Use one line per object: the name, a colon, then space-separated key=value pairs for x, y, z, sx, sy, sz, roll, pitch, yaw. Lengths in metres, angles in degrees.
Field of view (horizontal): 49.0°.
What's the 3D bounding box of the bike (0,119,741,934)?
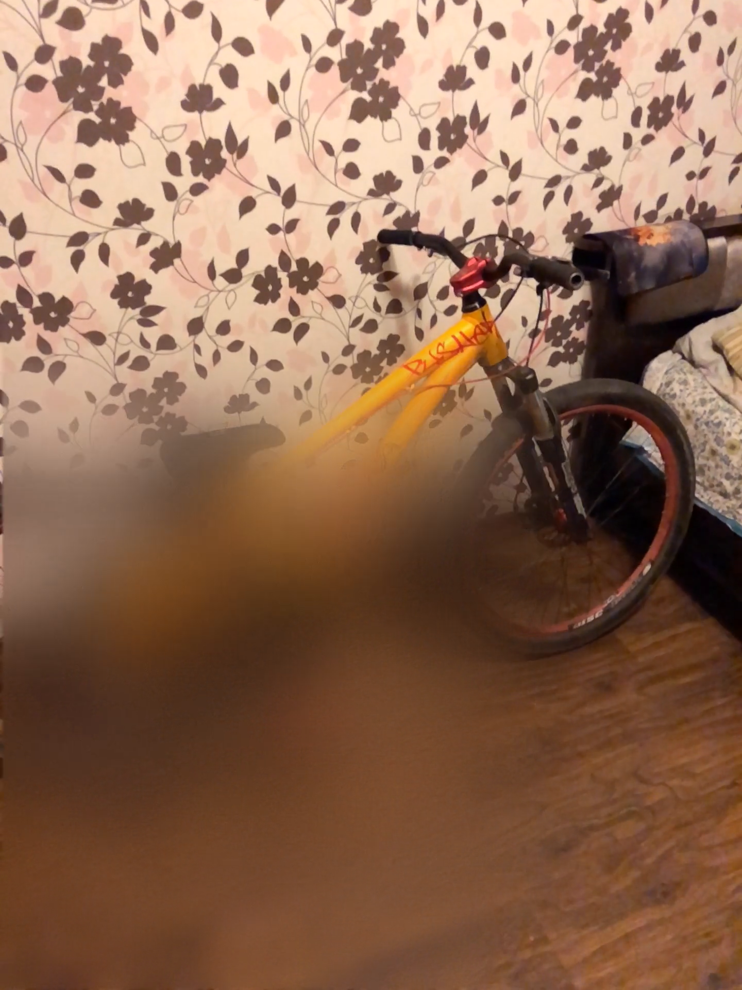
bike: x=-0.070 y=-0.017 z=1.590 sx=1.676 sy=1.005 sz=0.664 roll=-14 pitch=35 yaw=-13
